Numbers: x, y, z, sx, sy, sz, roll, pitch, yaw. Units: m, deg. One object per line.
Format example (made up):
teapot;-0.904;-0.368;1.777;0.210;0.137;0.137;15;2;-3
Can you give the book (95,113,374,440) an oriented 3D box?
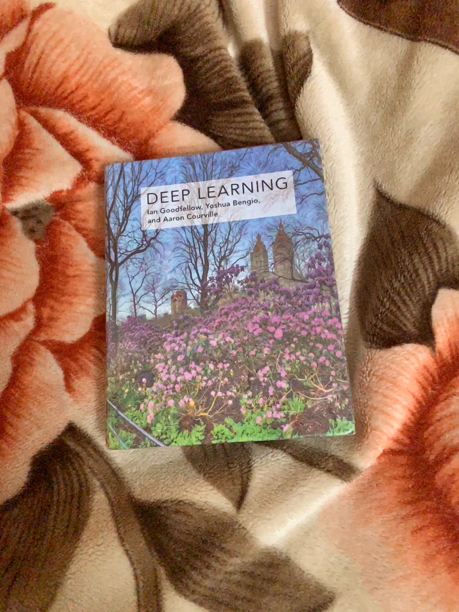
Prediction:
book;-0.006;-0.029;0.401;0.210;0.030;0.260;-5;76;4
